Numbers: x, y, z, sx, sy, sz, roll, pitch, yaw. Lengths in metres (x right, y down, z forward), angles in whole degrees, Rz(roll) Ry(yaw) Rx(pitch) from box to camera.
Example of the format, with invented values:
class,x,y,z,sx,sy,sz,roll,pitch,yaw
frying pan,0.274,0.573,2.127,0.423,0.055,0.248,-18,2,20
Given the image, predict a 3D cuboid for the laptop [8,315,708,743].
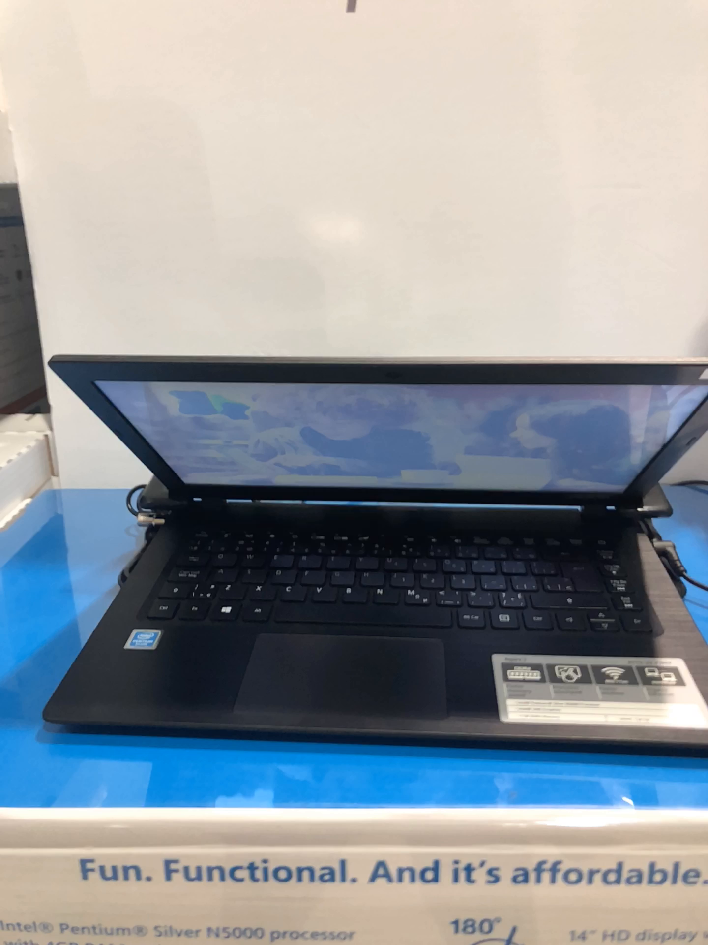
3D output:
class,x,y,z,sx,sy,sz,roll,pitch,yaw
laptop,0.024,0.008,0.441,0.333,0.145,0.207,1,22,5
